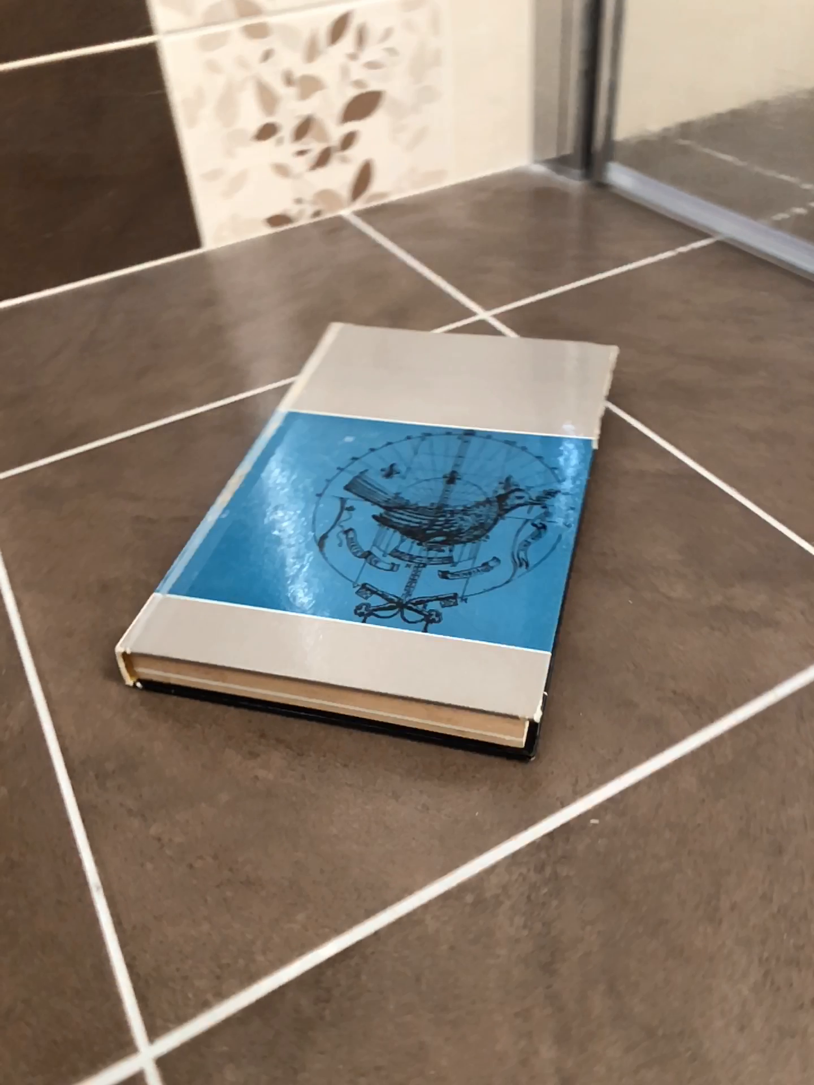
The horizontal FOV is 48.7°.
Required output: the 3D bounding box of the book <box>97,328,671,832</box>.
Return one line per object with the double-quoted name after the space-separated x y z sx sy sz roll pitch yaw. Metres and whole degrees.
0.016 -0.015 0.467 0.210 0.040 0.302 8 42 15 "book"
